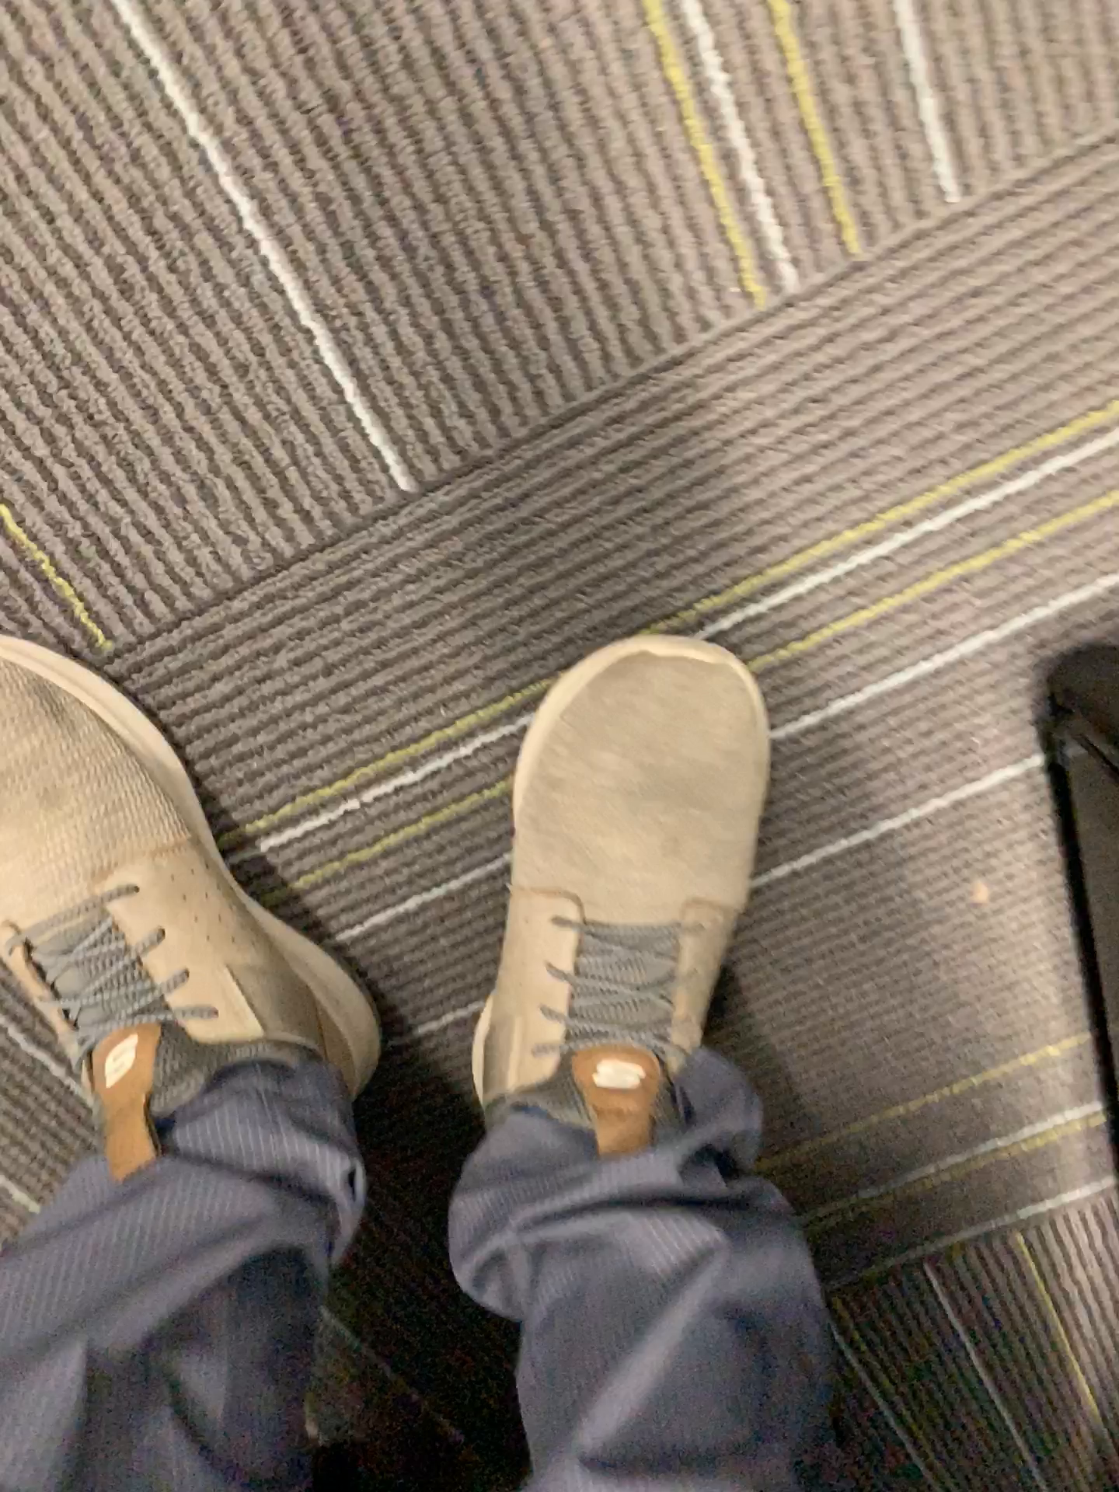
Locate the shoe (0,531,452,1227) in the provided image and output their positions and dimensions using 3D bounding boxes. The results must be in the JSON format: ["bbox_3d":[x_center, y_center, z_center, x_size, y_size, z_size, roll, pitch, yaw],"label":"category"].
[{"bbox_3d":[-0.185,0.074,0.519,0.126,0.098,0.303,-29,120,11],"label":"shoe"}]

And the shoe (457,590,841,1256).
[{"bbox_3d":[0.022,0.093,0.521,0.107,0.098,0.303,4,120,-9],"label":"shoe"}]
